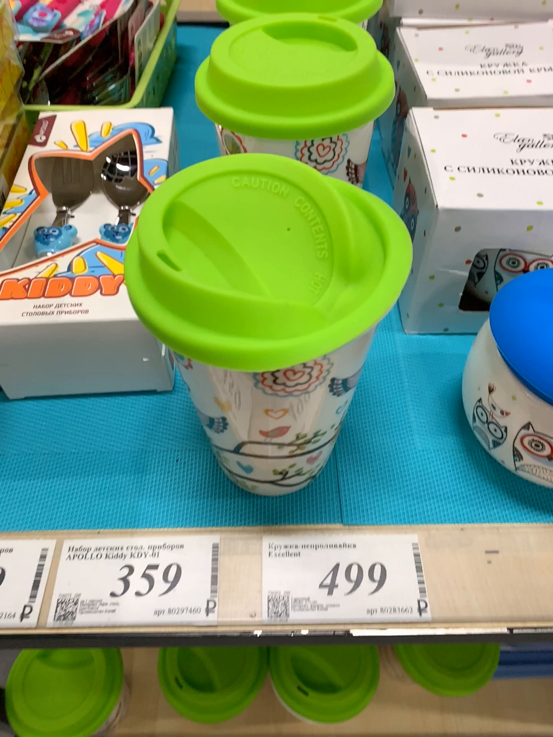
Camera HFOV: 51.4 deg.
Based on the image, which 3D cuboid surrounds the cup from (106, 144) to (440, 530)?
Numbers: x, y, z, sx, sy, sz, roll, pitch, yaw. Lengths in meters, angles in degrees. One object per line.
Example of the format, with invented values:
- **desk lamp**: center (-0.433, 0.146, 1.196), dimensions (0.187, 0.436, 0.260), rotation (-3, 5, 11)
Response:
- **cup**: center (-0.003, -0.004, 0.234), dimensions (0.090, 0.136, 0.085), rotation (0, 52, 0)
